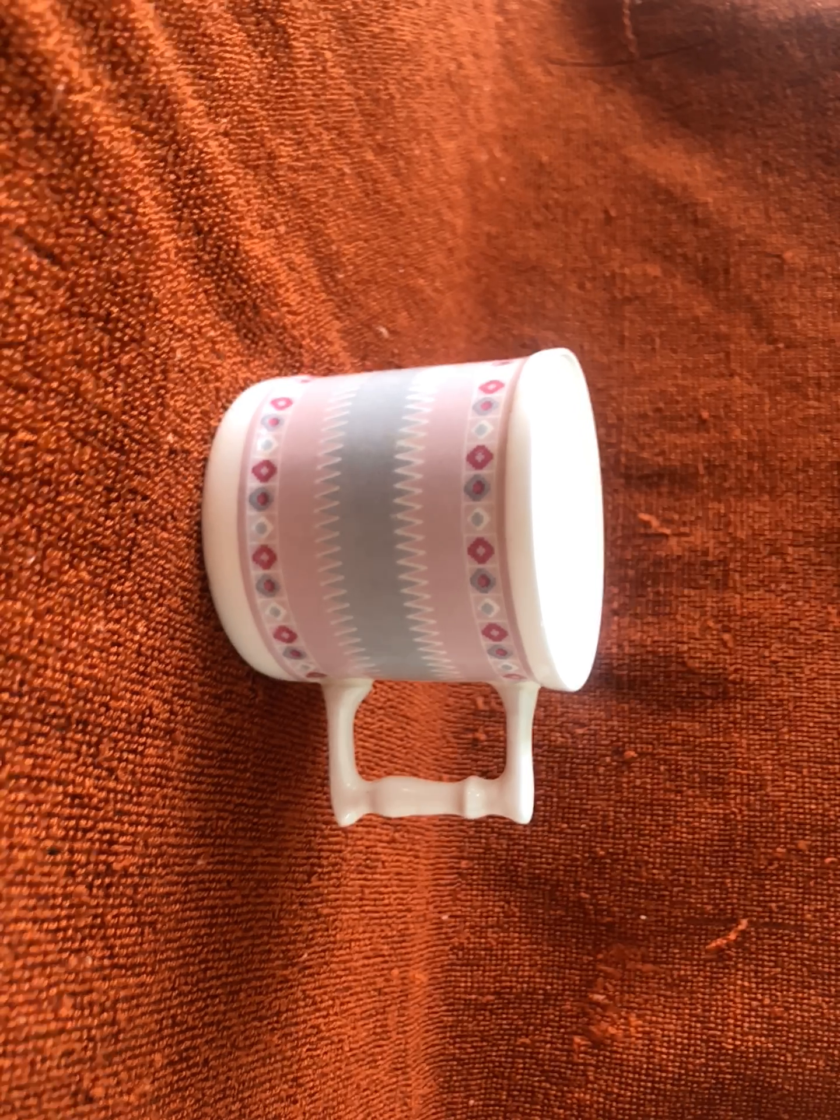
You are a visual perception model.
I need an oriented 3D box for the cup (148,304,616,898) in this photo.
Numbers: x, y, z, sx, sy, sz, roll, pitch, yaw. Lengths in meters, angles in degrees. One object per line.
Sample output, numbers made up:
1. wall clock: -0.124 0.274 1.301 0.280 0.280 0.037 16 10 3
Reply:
1. cup: -0.002 0.008 0.183 0.060 0.070 0.090 15 76 -69
